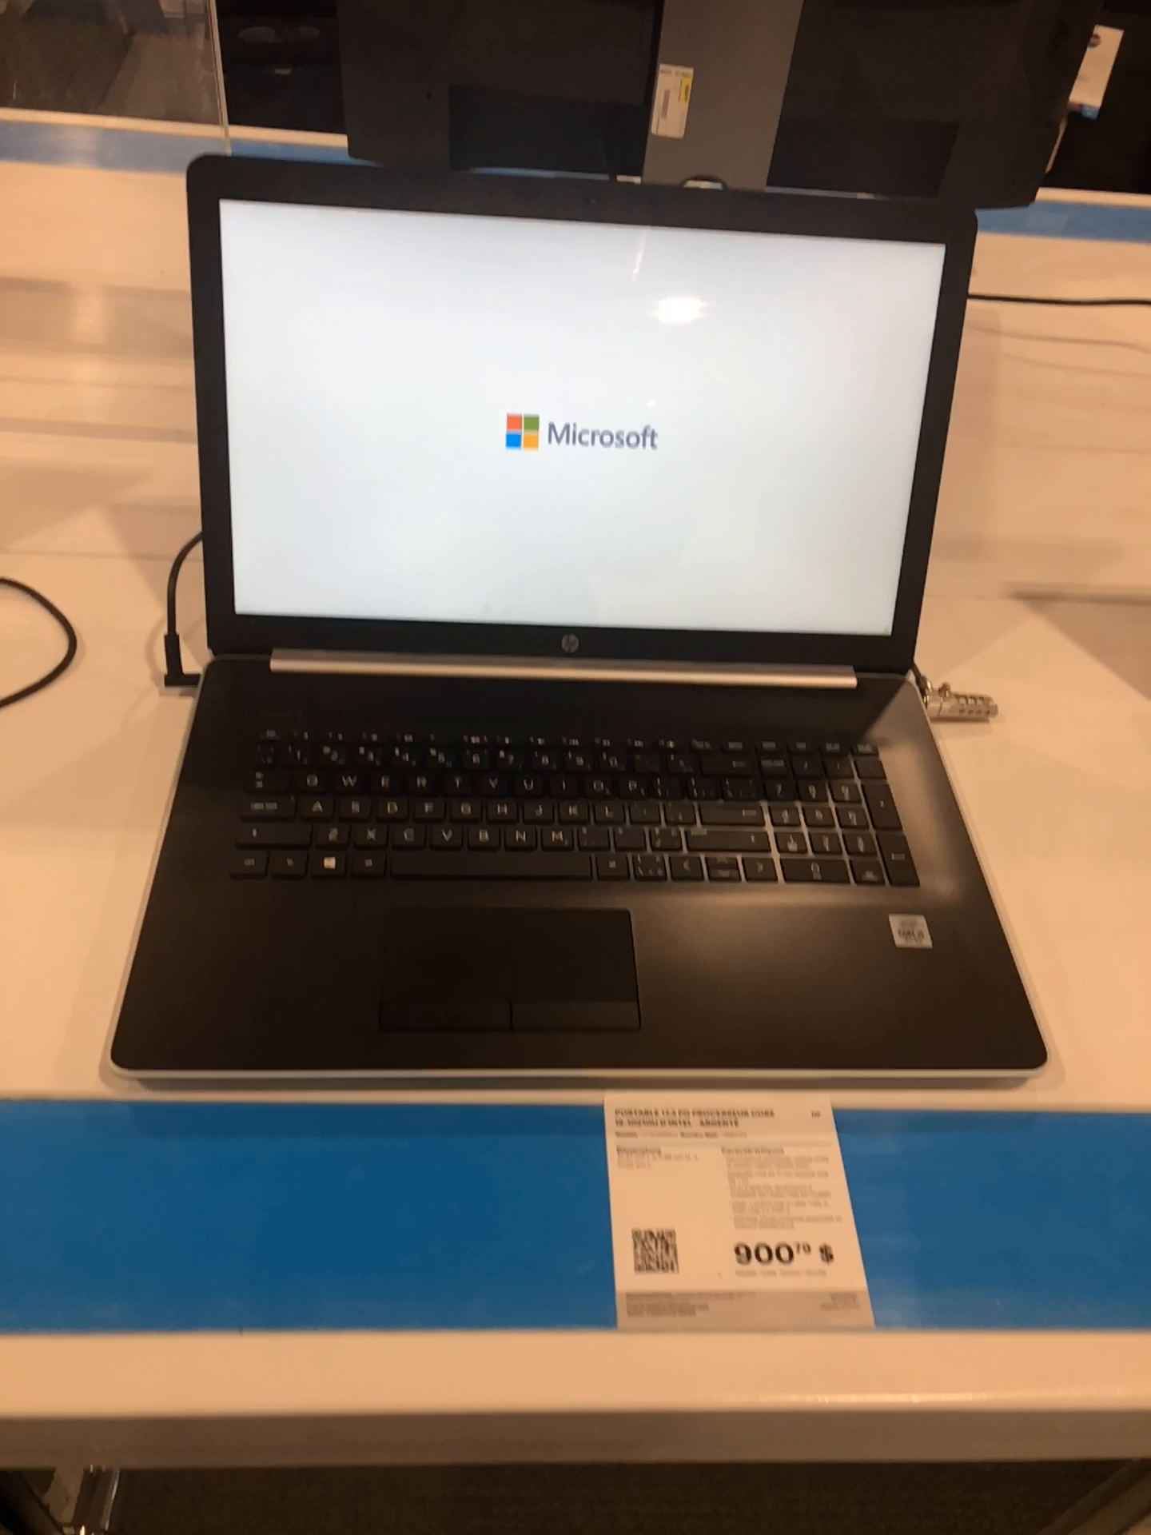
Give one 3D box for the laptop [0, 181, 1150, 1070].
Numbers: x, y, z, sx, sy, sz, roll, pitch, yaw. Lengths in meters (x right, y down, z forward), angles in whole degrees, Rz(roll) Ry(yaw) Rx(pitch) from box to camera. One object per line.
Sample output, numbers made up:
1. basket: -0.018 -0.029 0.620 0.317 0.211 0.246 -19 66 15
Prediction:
1. laptop: 0.006 -0.083 0.614 0.410 0.242 0.382 1 43 -5
